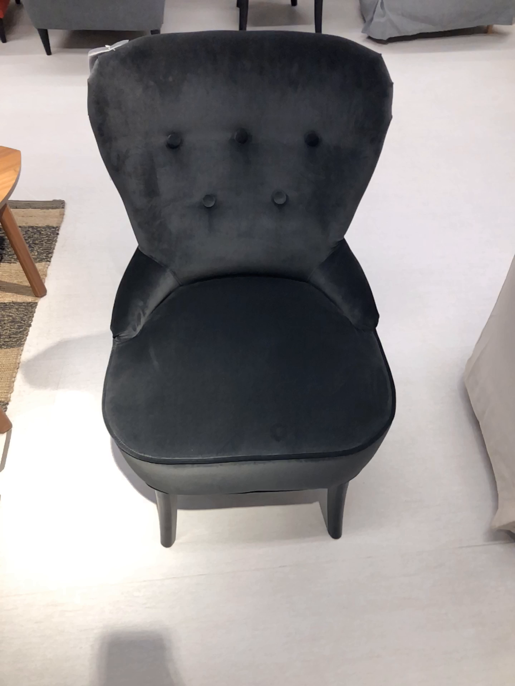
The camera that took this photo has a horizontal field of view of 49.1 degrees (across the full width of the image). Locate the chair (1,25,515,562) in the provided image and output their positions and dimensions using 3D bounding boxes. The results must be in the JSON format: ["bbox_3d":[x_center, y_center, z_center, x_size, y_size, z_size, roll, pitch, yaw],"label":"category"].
[{"bbox_3d":[-0.025,-0.085,1.196,0.600,0.776,0.794,-3,52,-4],"label":"chair"}]
